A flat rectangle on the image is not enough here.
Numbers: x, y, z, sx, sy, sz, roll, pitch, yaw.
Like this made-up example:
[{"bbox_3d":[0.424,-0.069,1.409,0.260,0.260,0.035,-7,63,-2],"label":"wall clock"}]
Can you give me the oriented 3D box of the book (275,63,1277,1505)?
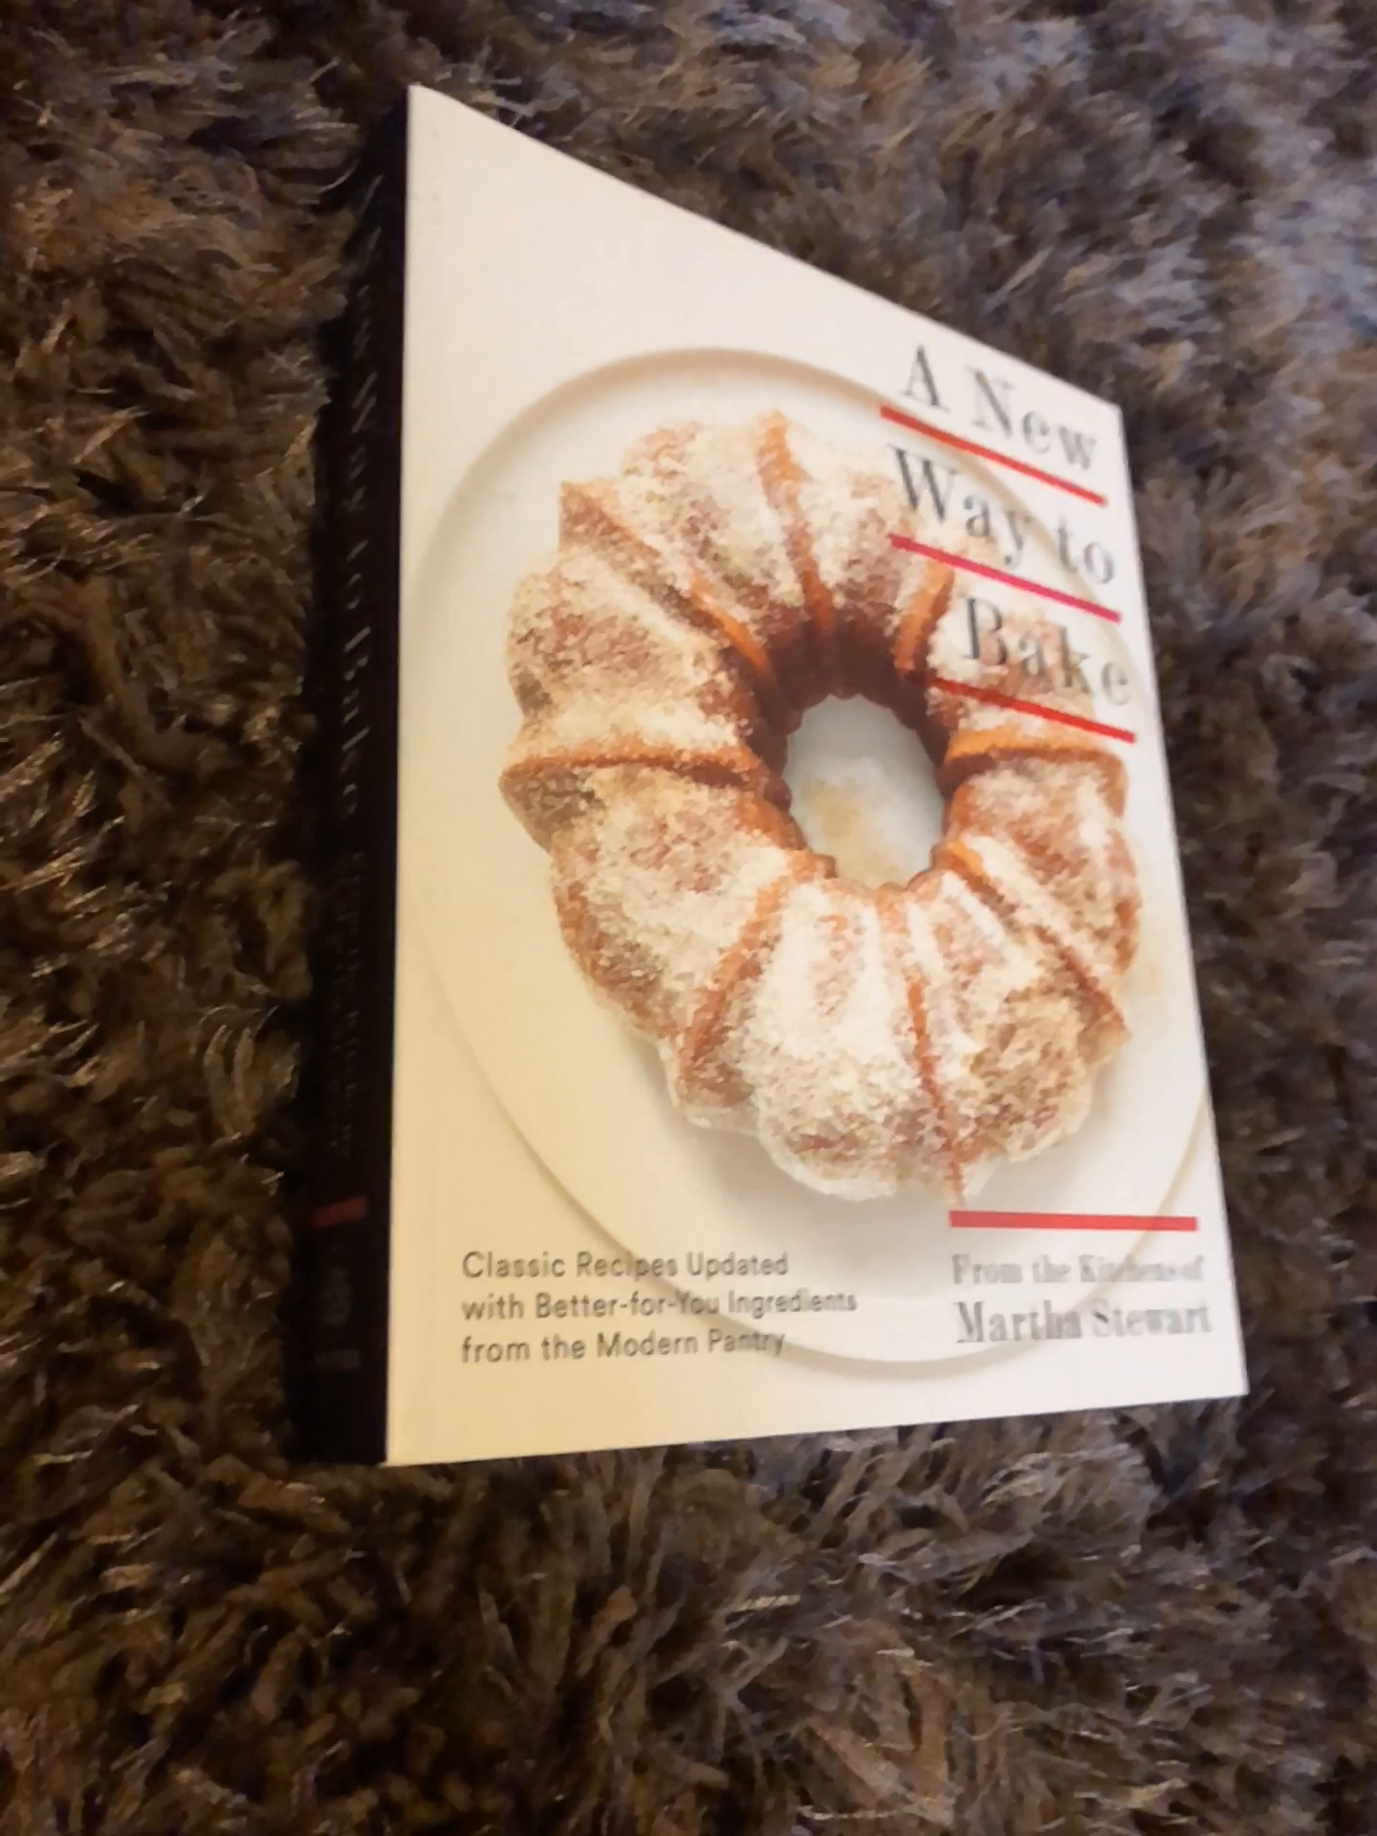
[{"bbox_3d":[0.022,-0.019,0.300,0.193,0.040,0.229,8,71,-35],"label":"book"}]
